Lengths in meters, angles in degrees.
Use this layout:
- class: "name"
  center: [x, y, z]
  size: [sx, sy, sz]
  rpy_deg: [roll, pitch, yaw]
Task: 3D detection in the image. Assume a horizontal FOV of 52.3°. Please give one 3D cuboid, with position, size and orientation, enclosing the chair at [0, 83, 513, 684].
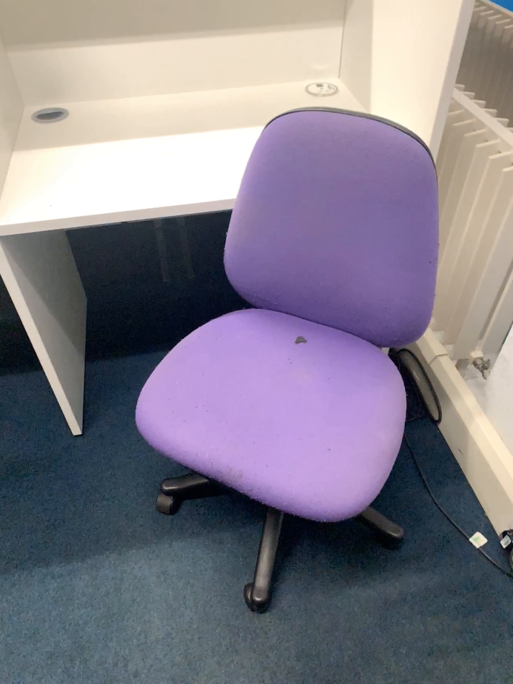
- class: "chair"
  center: [0.079, 0.078, 1.083]
  size: [0.691, 0.862, 0.655]
  rpy_deg: [20, 49, 19]
